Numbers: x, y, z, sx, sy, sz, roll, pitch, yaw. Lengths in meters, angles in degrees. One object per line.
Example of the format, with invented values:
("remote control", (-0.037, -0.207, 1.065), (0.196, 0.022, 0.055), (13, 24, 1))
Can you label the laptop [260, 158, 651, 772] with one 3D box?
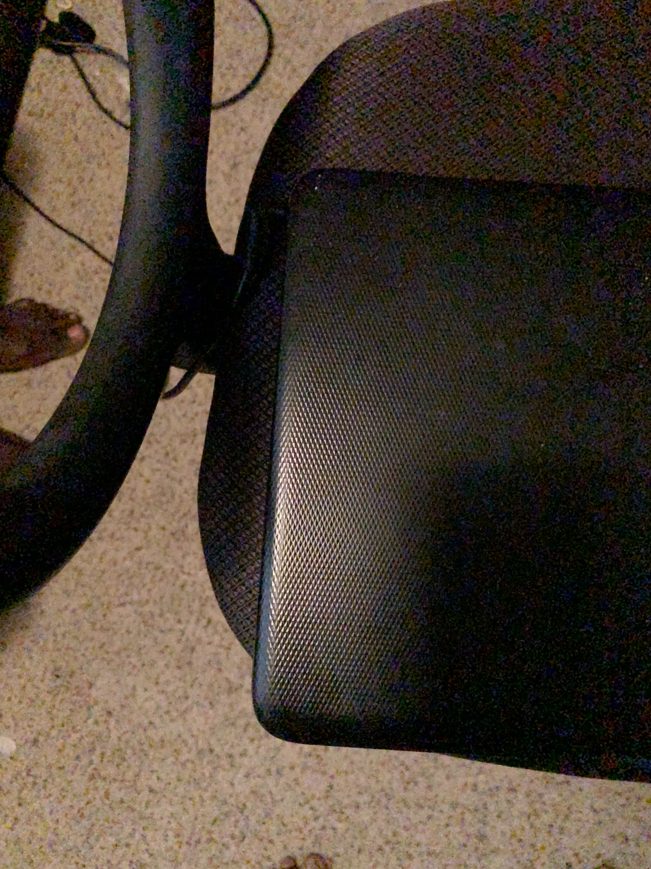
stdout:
("laptop", (0.170, 0.016, 0.304), (0.378, 0.018, 0.244), (4, 85, -4))
